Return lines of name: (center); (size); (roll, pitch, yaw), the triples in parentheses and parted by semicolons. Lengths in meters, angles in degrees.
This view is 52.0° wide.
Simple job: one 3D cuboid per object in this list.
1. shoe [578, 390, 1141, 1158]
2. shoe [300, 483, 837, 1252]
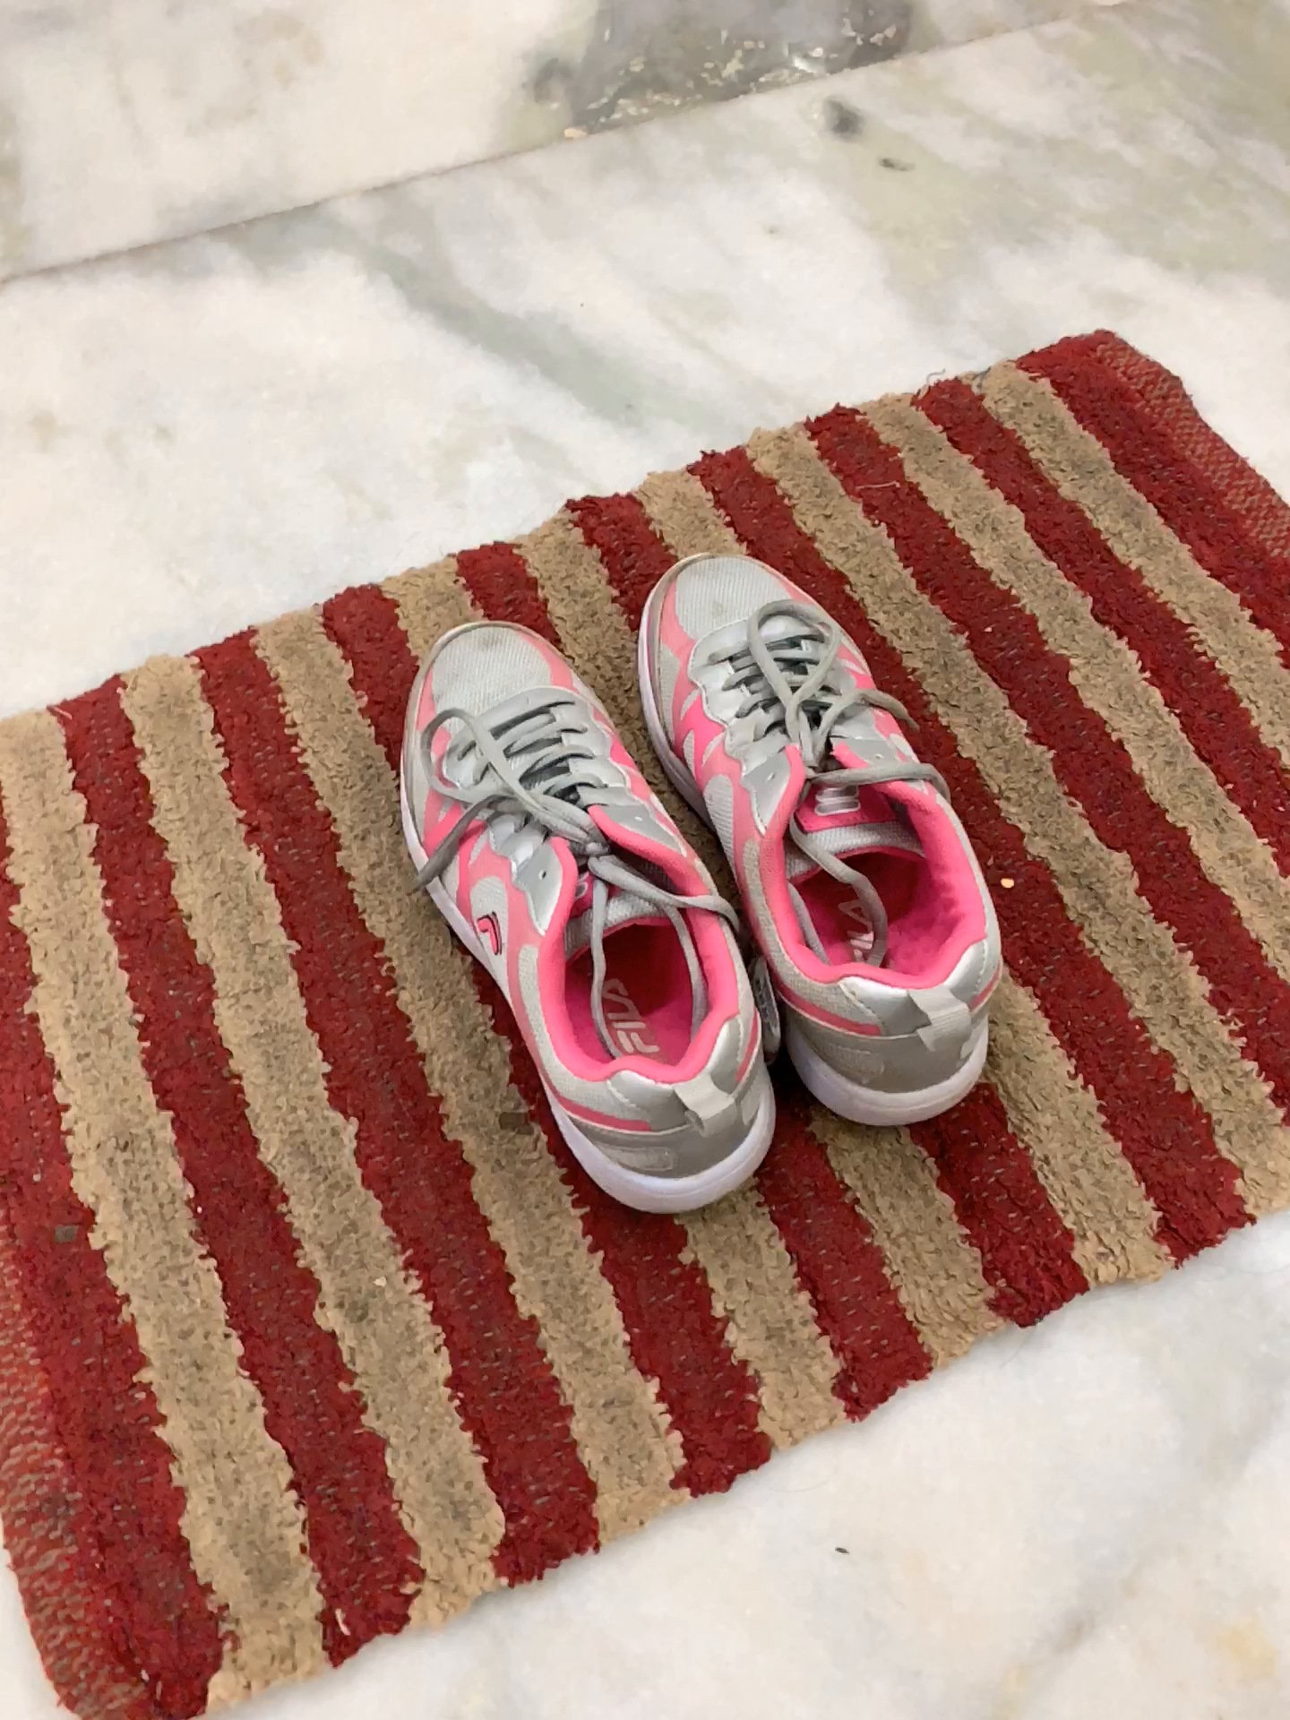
shoe: (0.059, -0.033, 0.458); (0.100, 0.100, 0.231); (-15, 64, -6)
shoe: (-0.031, -0.001, 0.456); (0.090, 0.100, 0.231); (-21, 65, -9)
